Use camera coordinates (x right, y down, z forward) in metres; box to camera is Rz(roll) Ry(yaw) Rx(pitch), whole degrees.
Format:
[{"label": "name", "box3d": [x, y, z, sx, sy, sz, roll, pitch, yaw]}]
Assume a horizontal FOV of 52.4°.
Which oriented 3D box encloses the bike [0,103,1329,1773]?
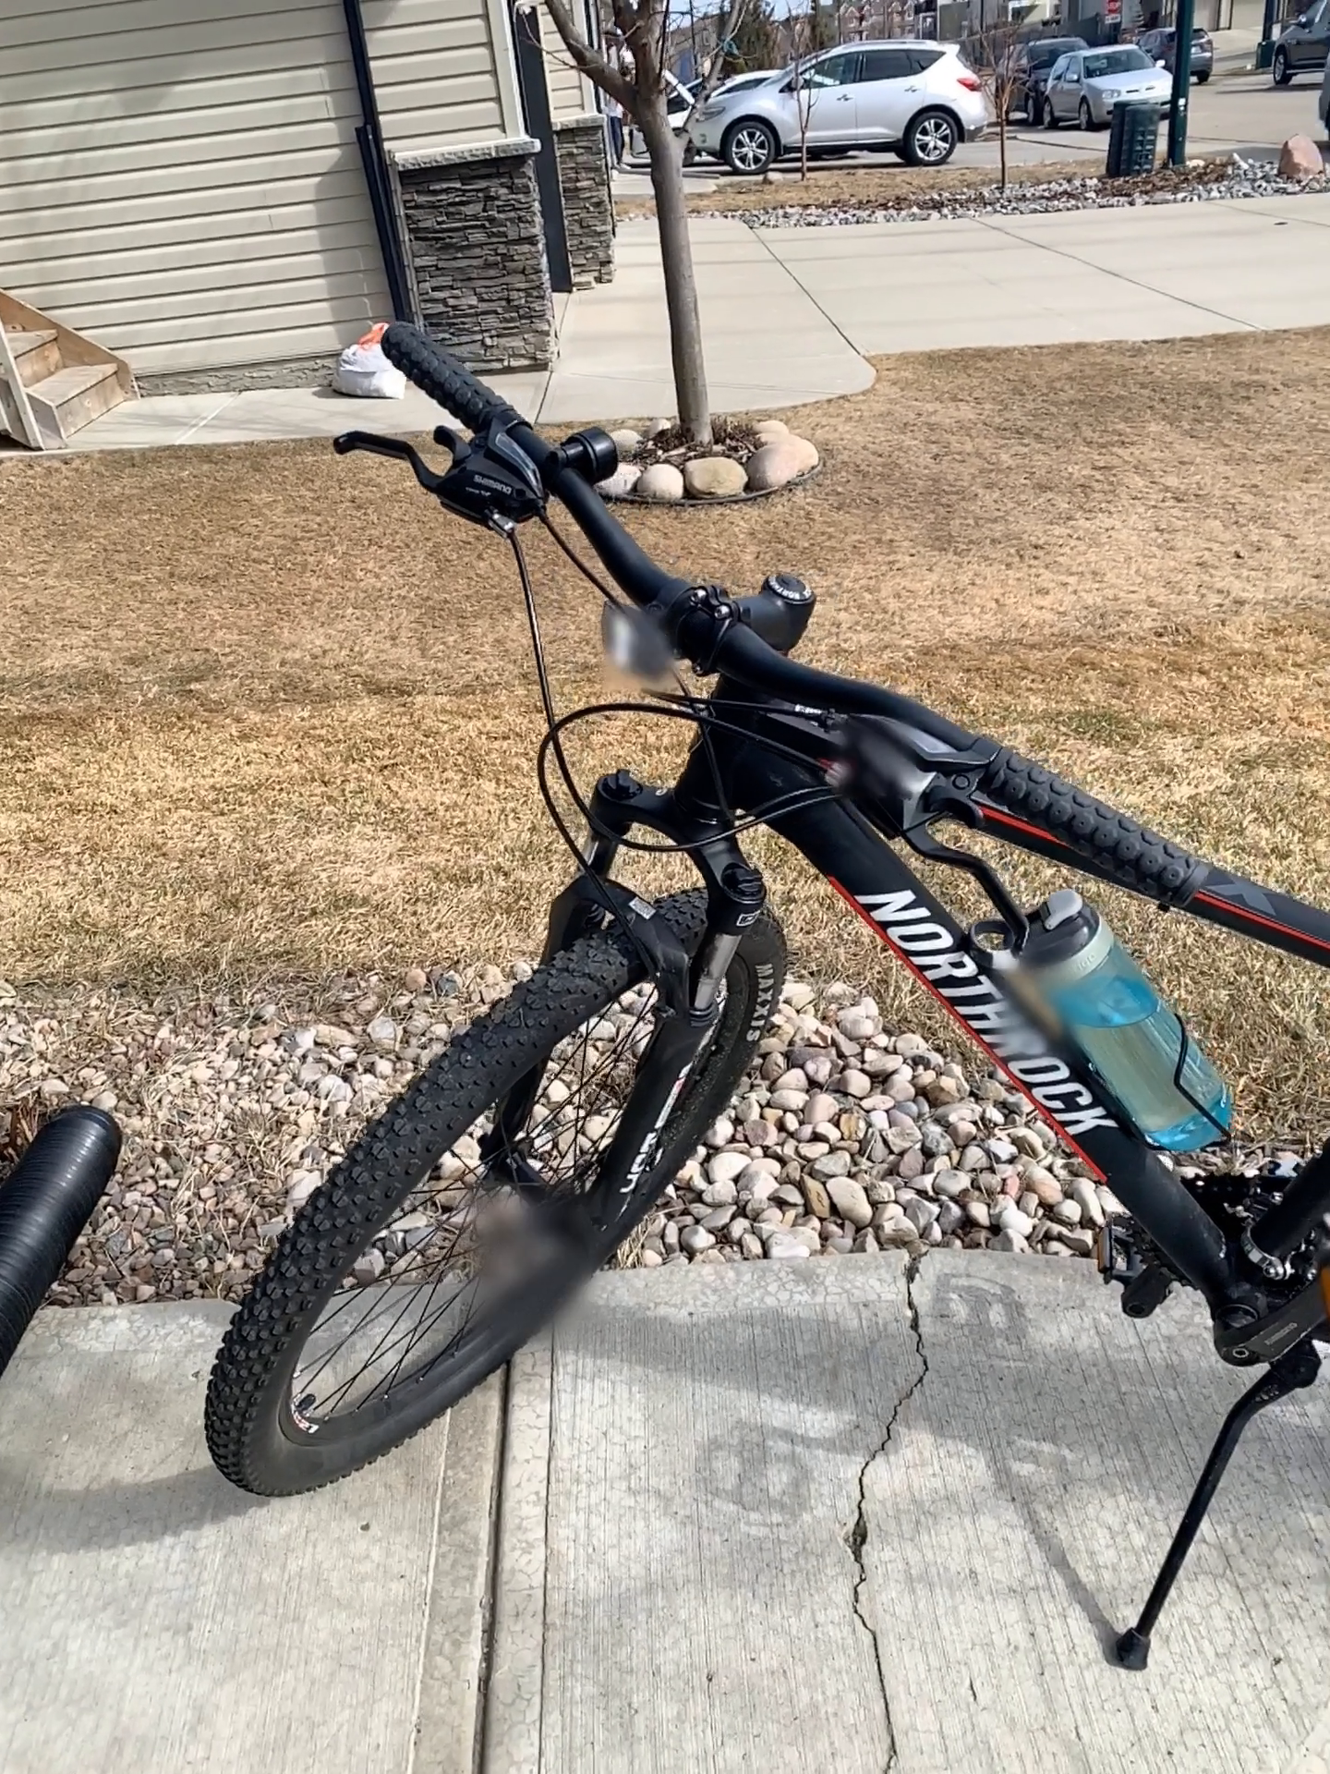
[{"label": "bike", "box3d": [0.365, 0.209, 0.908, 1.478, 1.005, 0.603, -3, 30, 12]}]
